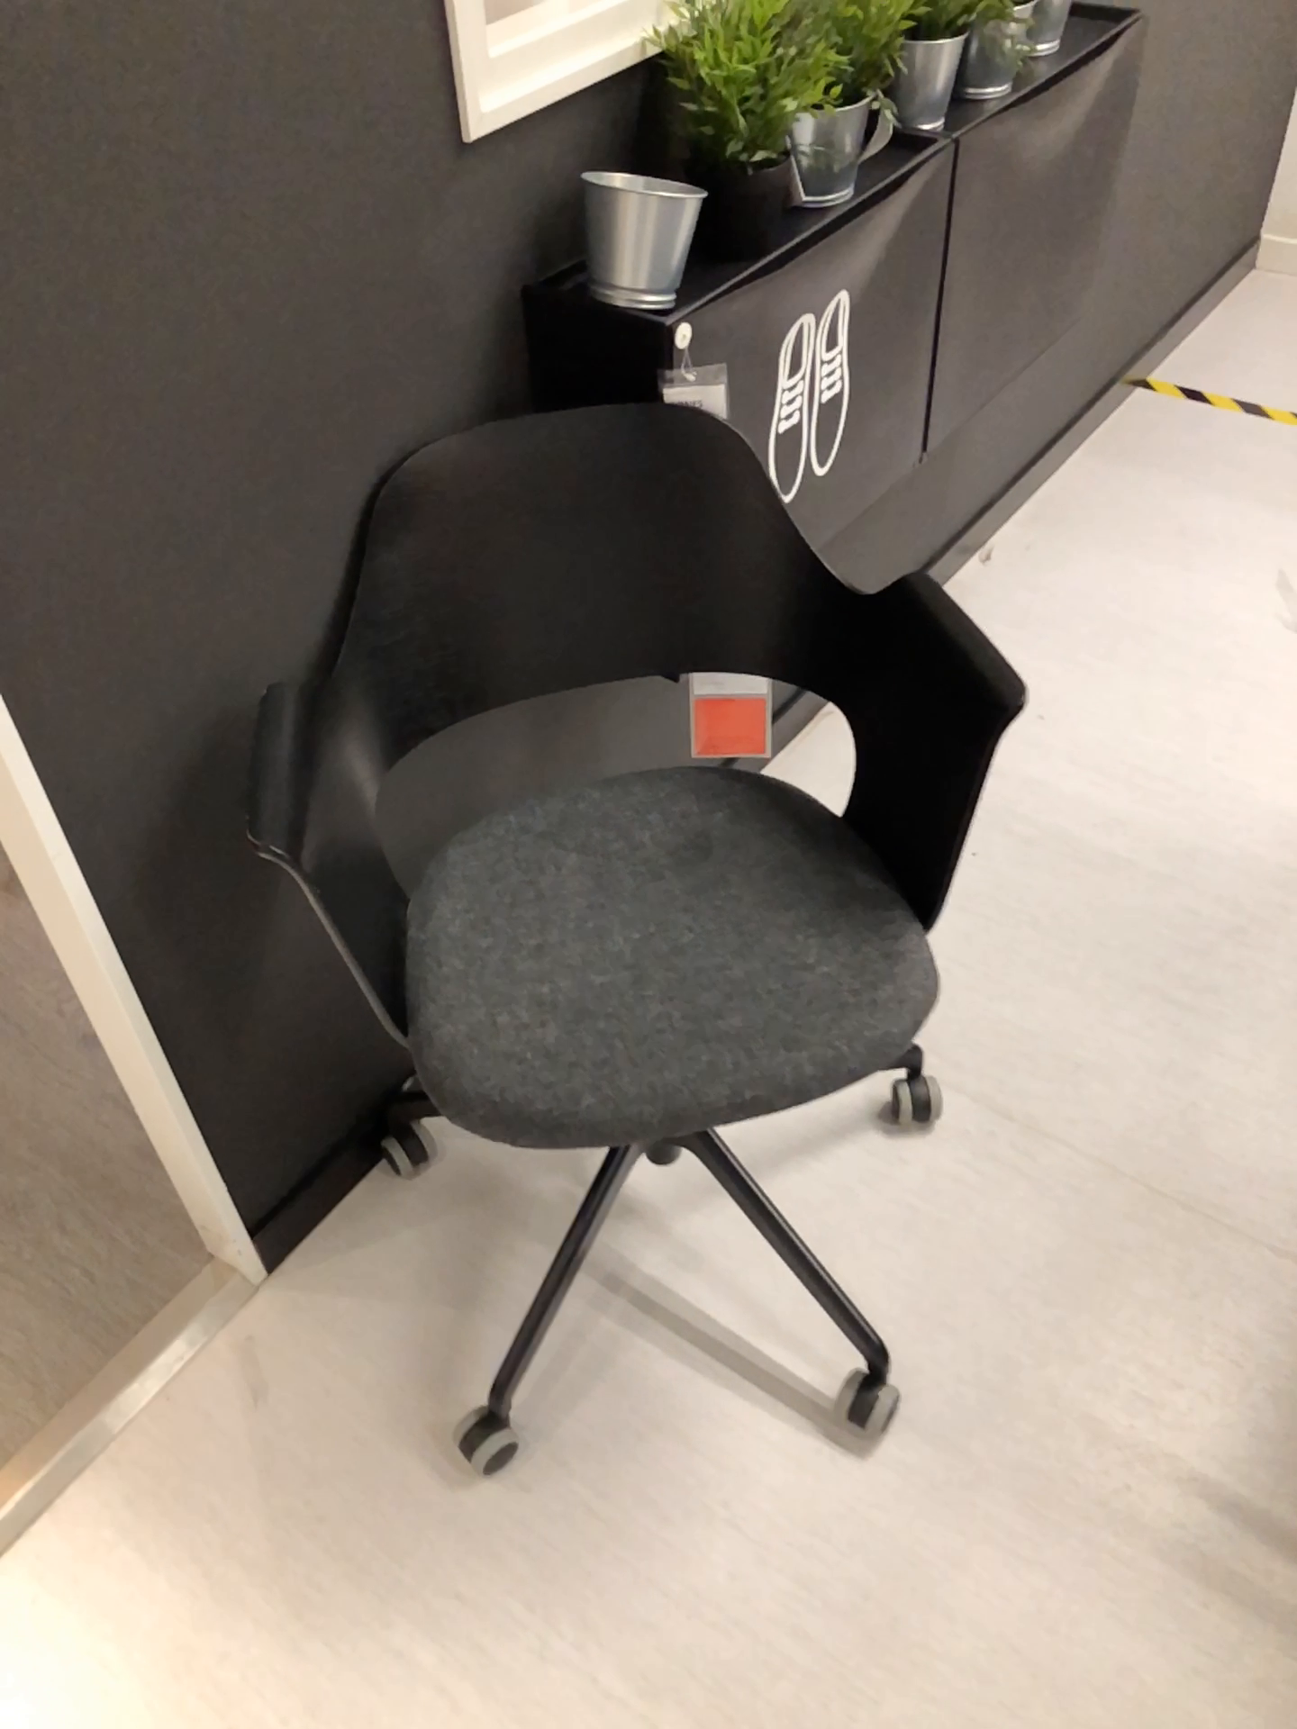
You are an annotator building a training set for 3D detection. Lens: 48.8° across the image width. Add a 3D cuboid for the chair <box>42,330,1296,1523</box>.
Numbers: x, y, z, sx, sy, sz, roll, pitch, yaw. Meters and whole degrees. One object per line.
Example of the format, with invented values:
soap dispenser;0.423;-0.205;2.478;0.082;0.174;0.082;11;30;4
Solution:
chair;0.008;0.072;1.201;0.660;0.755;0.564;-7;45;-3
